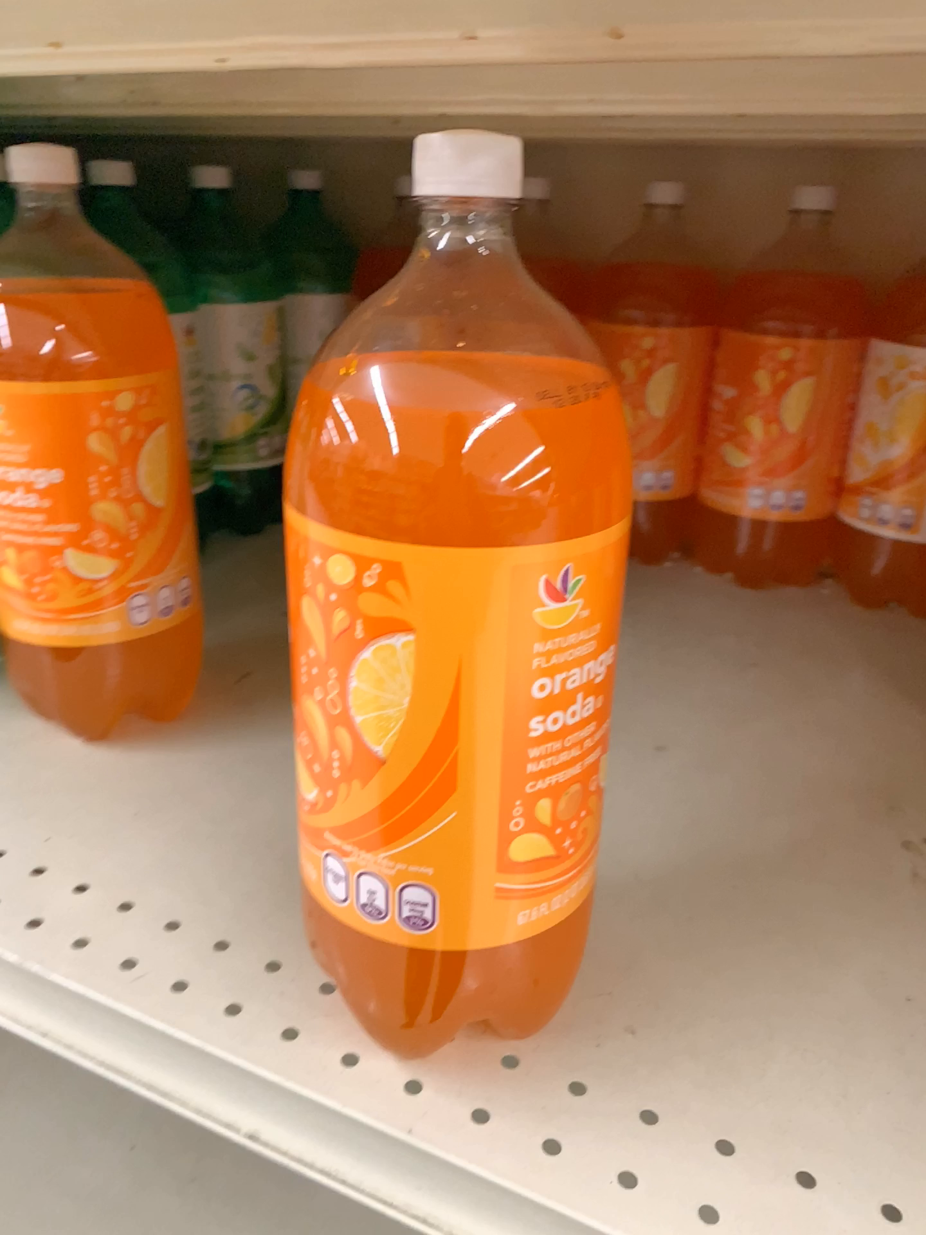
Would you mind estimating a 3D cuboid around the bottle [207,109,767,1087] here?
[{"bbox_3d":[0.000,0.002,0.313,0.120,0.288,0.111,1,24,-1],"label":"bottle"}]
